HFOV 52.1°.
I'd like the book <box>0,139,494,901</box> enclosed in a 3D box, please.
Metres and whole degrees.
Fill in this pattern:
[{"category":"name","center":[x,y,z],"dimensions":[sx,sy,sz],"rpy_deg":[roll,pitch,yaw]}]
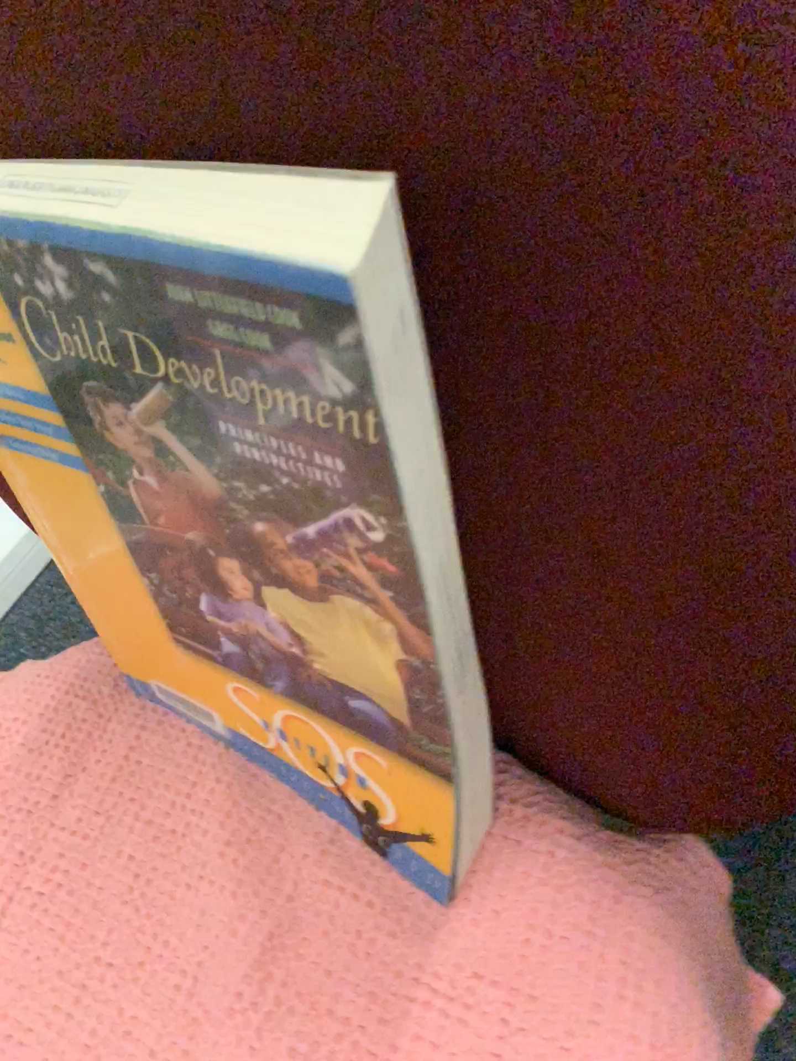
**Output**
[{"category":"book","center":[-0.082,0.001,0.309],"dimensions":[0.226,0.258,0.050],"rpy_deg":[18,47,30]}]
